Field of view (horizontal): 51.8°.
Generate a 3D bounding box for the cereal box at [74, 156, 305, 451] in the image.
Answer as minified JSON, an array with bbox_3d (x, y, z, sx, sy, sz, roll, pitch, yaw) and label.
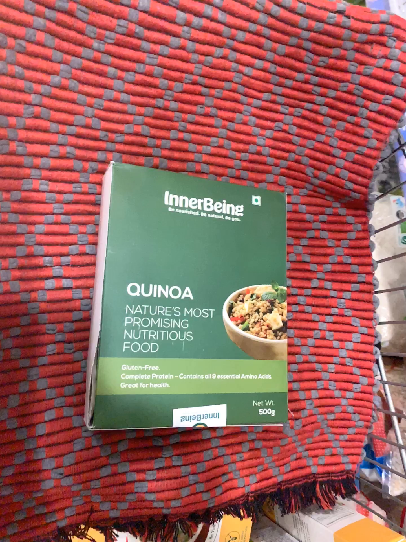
[{"bbox_3d":[-0.005,0.025,0.298,0.150,0.040,0.180,5,81,-18],"label":"cereal box"}]
